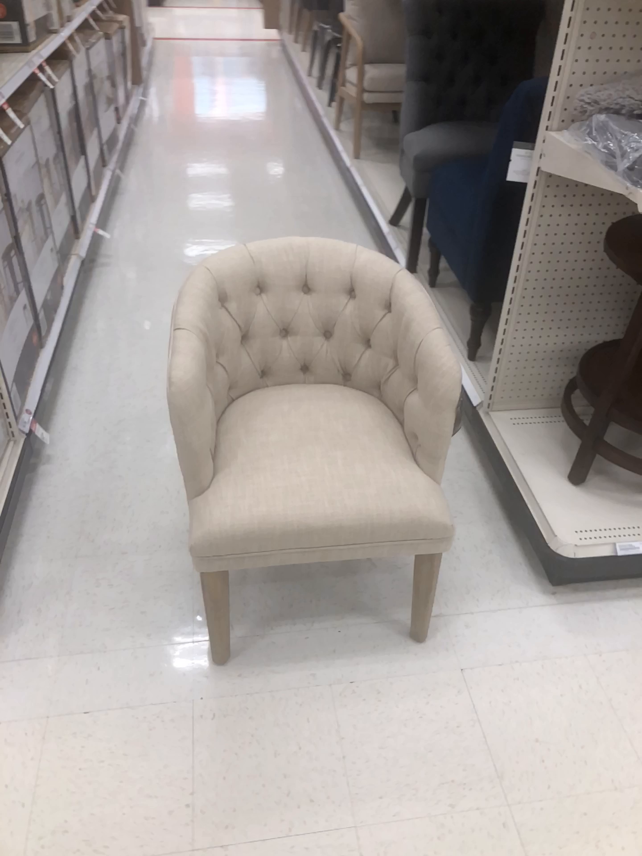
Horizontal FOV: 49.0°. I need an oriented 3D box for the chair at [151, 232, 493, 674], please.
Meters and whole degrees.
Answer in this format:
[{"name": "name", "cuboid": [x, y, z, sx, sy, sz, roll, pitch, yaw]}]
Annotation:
[{"name": "chair", "cuboid": [-0.053, 0.025, 1.618, 0.561, 0.700, 0.685, -4, 37, -8]}]
